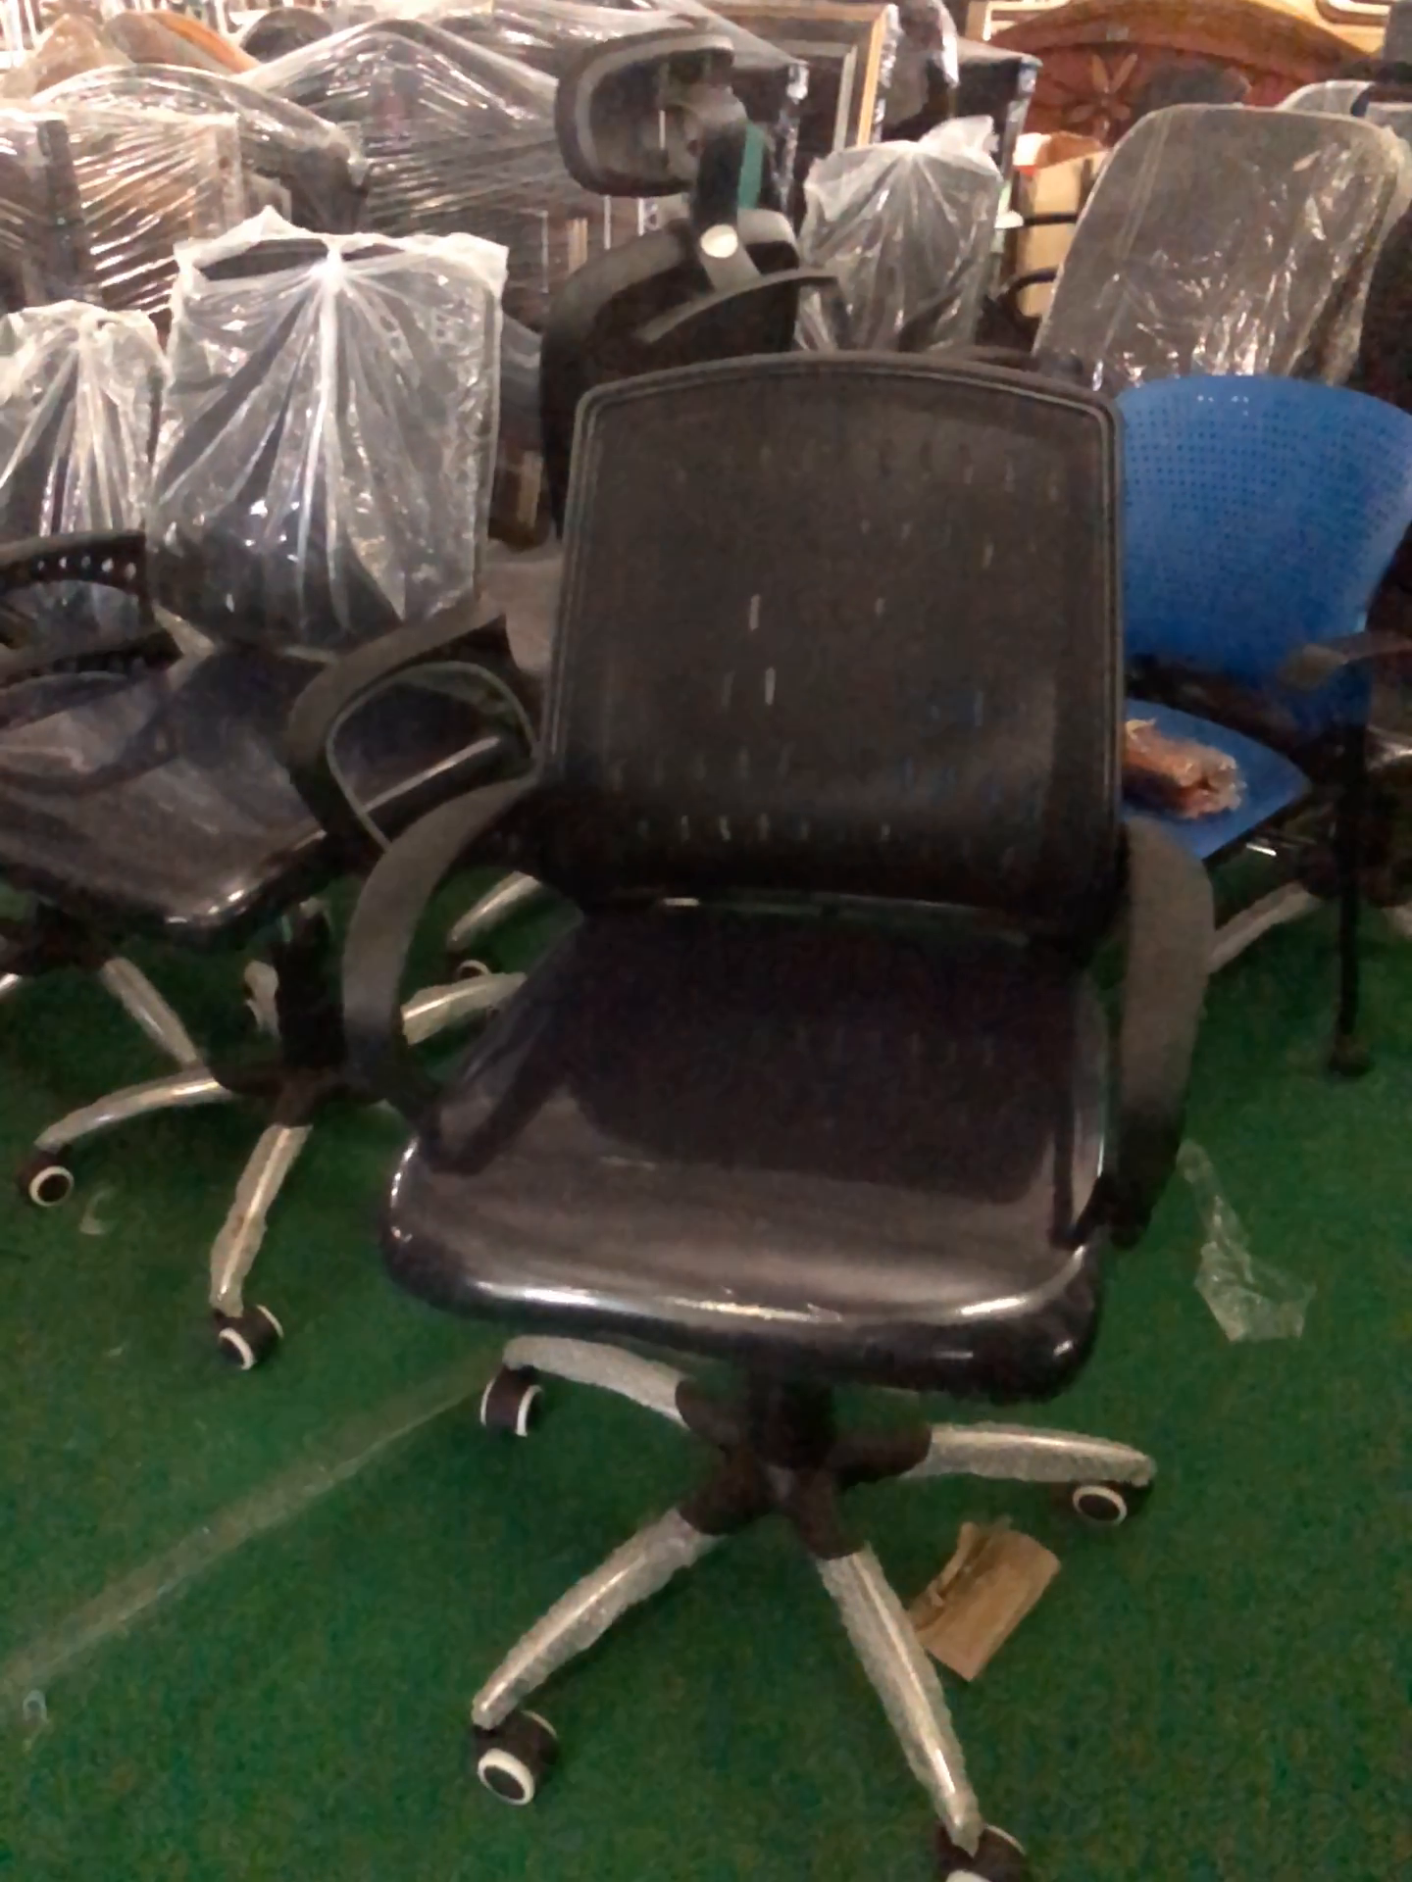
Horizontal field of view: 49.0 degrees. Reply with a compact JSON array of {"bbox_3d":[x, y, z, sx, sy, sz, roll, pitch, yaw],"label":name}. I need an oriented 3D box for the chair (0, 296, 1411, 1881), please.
[{"bbox_3d":[0.134,0.085,1.274,0.730,0.995,0.875,5,33,12],"label":"chair"}]
